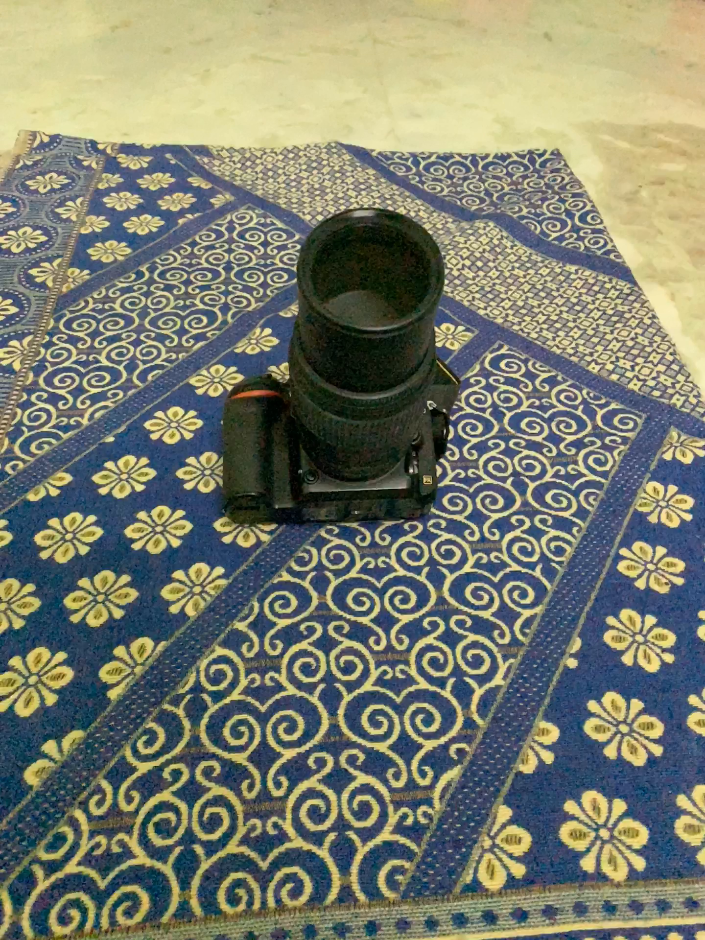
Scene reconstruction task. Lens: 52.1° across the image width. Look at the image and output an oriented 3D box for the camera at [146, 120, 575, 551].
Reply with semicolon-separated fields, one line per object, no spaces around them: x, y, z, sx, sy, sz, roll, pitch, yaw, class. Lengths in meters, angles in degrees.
-0.003;-0.056;0.383;0.160;0.191;0.131;-1;61;-3;camera
